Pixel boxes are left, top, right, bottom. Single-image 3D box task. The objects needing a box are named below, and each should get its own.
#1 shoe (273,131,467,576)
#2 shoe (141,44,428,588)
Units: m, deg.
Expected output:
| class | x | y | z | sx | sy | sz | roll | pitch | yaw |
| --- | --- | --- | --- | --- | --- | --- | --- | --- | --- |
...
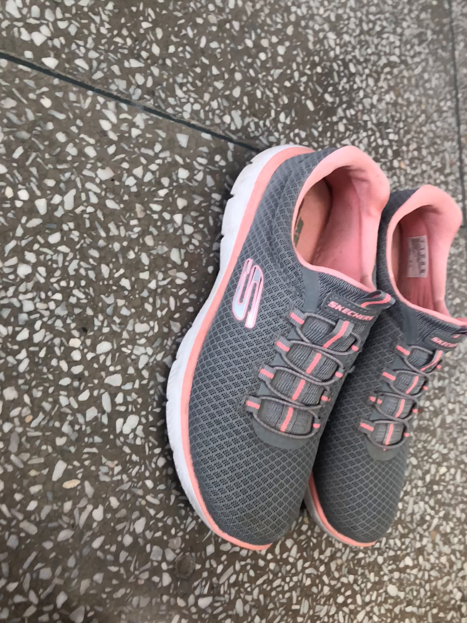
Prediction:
| class | x | y | z | sx | sy | sz | roll | pitch | yaw |
| --- | --- | --- | --- | --- | --- | --- | --- | --- | --- |
| shoe | 0.115 | 0.030 | 0.353 | 0.102 | 0.108 | 0.246 | 18 | 72 | -31 |
| shoe | 0.034 | 0.004 | 0.295 | 0.097 | 0.094 | 0.252 | 18 | 72 | -31 |
